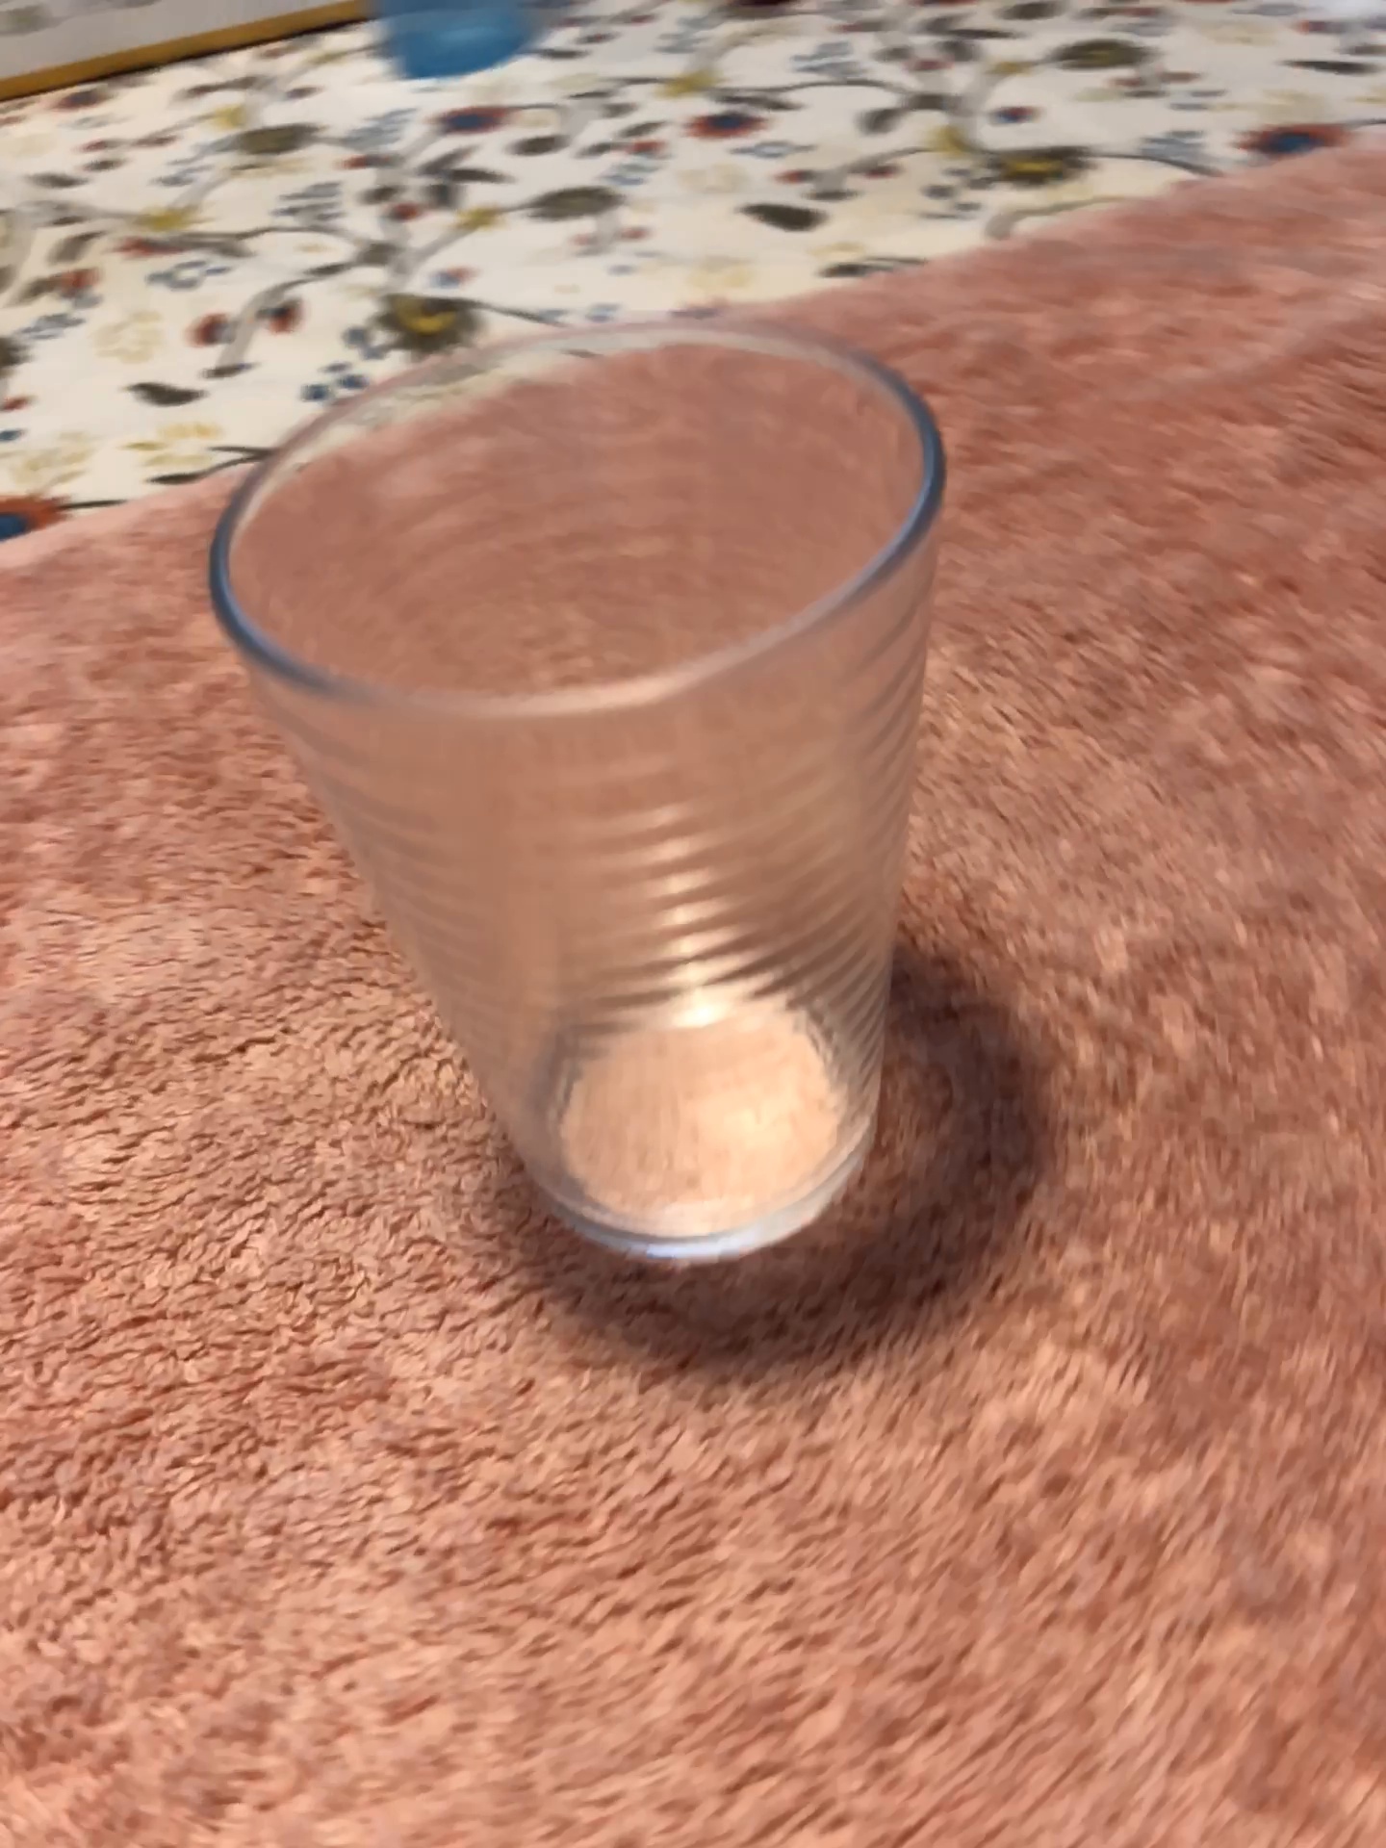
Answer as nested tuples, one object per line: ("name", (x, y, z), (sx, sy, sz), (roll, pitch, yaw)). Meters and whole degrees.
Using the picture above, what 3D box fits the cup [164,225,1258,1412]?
("cup", (0.001, -0.015, 0.186), (0.080, 0.089, 0.080), (-4, 46, 5))
